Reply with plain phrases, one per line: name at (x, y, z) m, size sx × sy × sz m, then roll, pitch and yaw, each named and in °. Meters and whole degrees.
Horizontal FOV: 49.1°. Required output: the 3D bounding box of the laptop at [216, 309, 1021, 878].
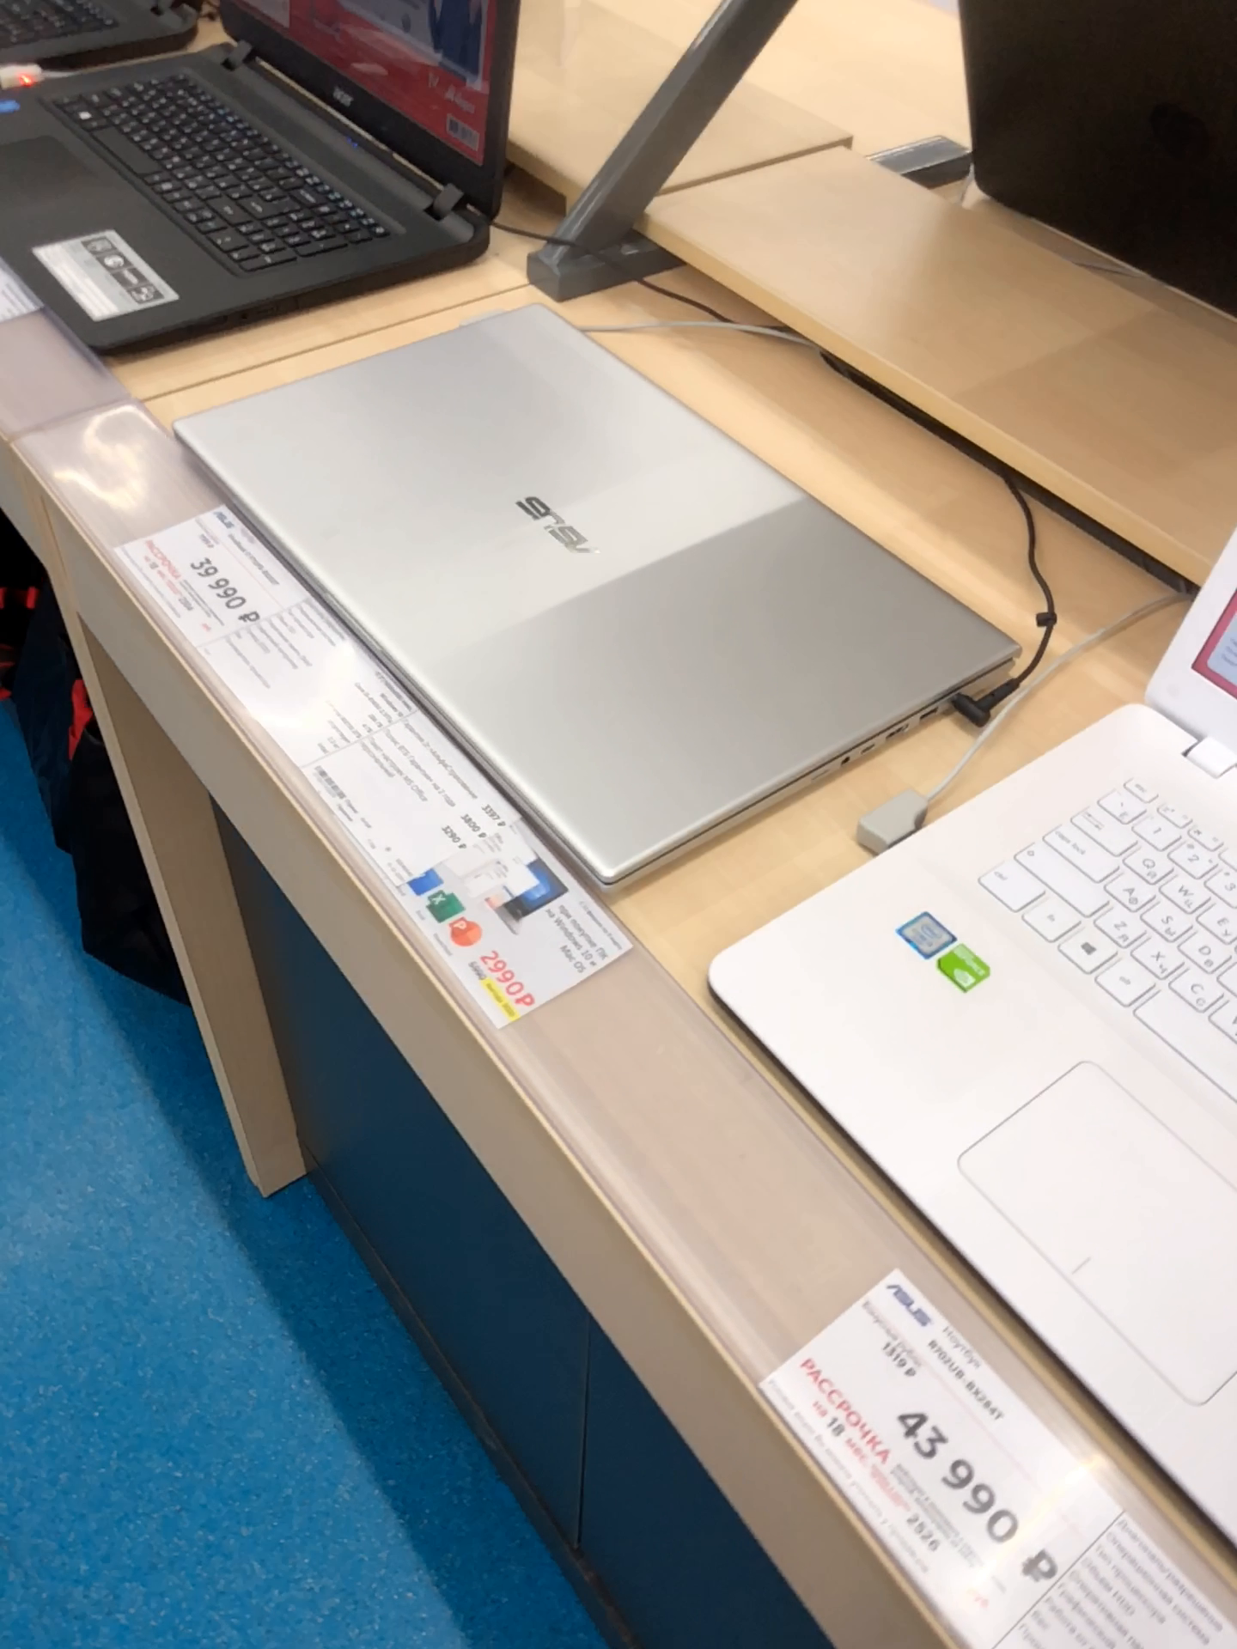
laptop at (-0.016, -0.152, 0.707) m, size 0.233 × 0.006 × 0.392 m, roll -29°, pitch 55°, yaw -24°
